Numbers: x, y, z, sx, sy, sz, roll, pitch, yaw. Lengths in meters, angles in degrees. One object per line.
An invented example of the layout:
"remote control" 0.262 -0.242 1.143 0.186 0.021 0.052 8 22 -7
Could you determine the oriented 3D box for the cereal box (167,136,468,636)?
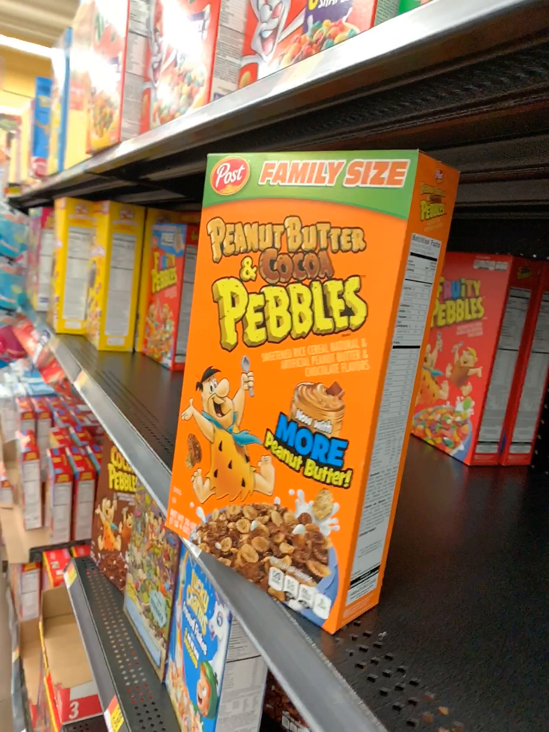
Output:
"cereal box" 0.017 0.002 0.461 0.200 0.339 0.060 15 11 40
